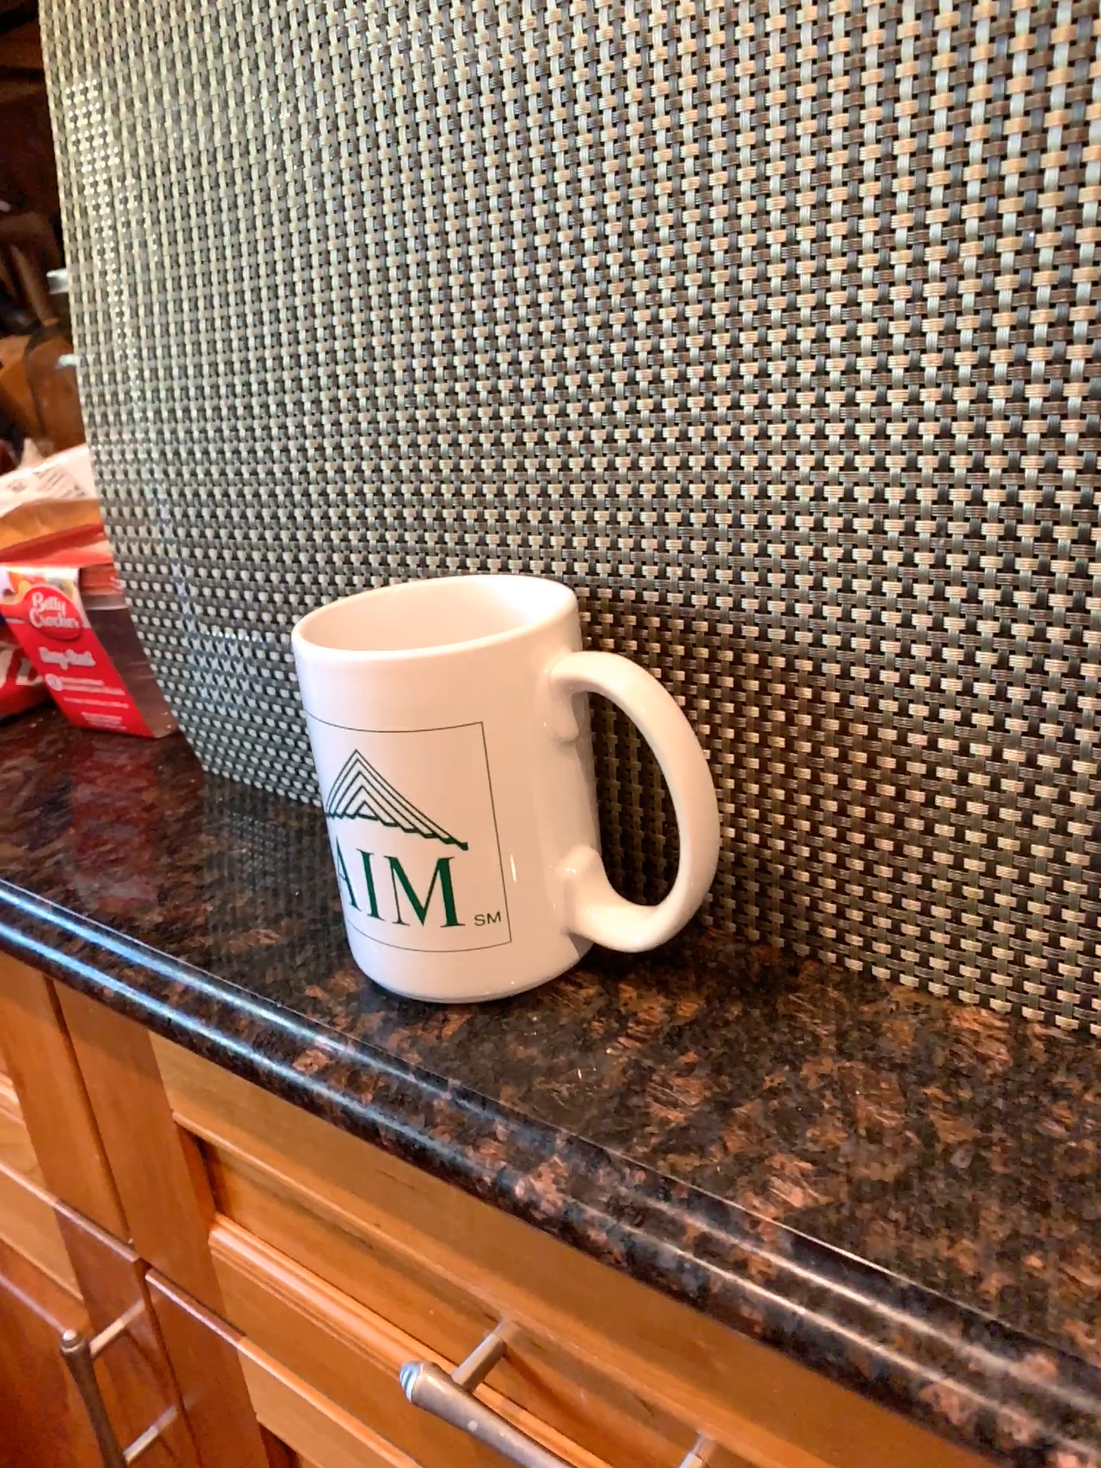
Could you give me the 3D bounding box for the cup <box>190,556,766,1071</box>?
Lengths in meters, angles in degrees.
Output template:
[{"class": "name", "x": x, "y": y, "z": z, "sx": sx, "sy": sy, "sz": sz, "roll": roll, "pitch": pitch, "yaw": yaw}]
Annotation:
[{"class": "cup", "x": -0.015, "y": 0.013, "z": 0.337, "sx": 0.130, "sy": 0.109, "sz": 0.090, "roll": 5, "pitch": 24, "yaw": 28}]
